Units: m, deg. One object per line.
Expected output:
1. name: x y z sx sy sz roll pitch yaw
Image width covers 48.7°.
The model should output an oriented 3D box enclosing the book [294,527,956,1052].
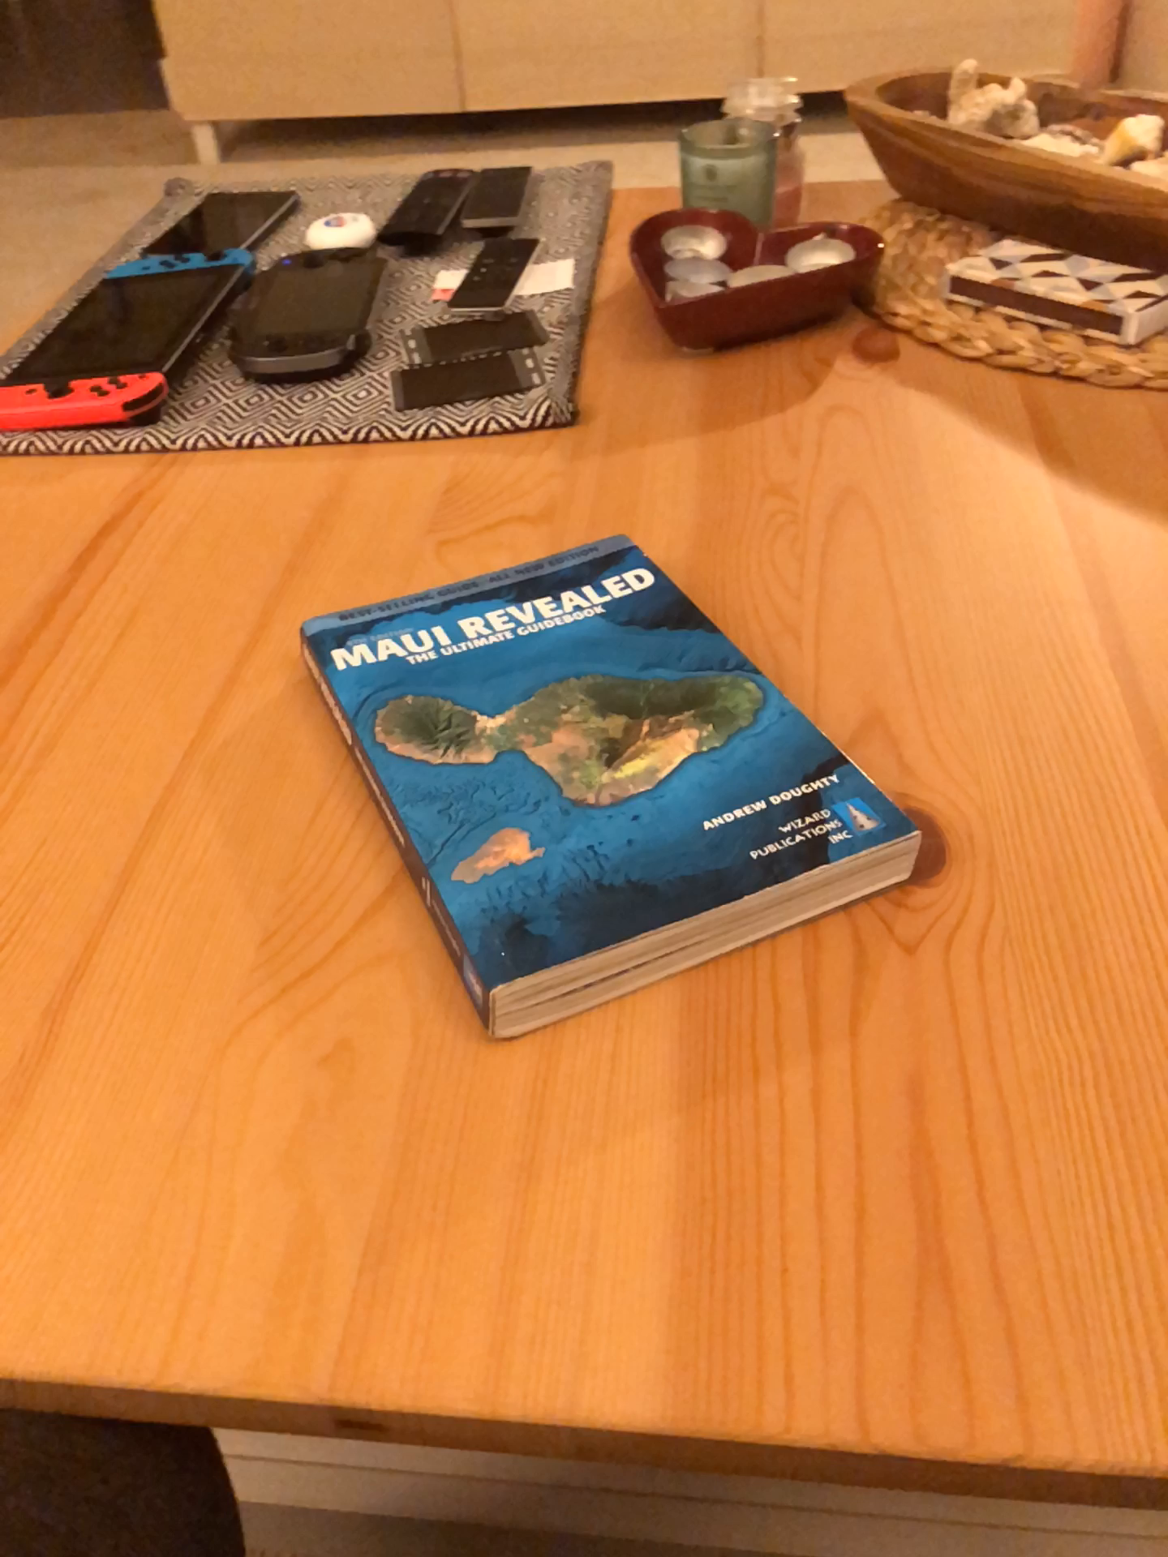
1. book: 0.002 -0.014 0.434 0.146 0.020 0.201 -18 43 -18
